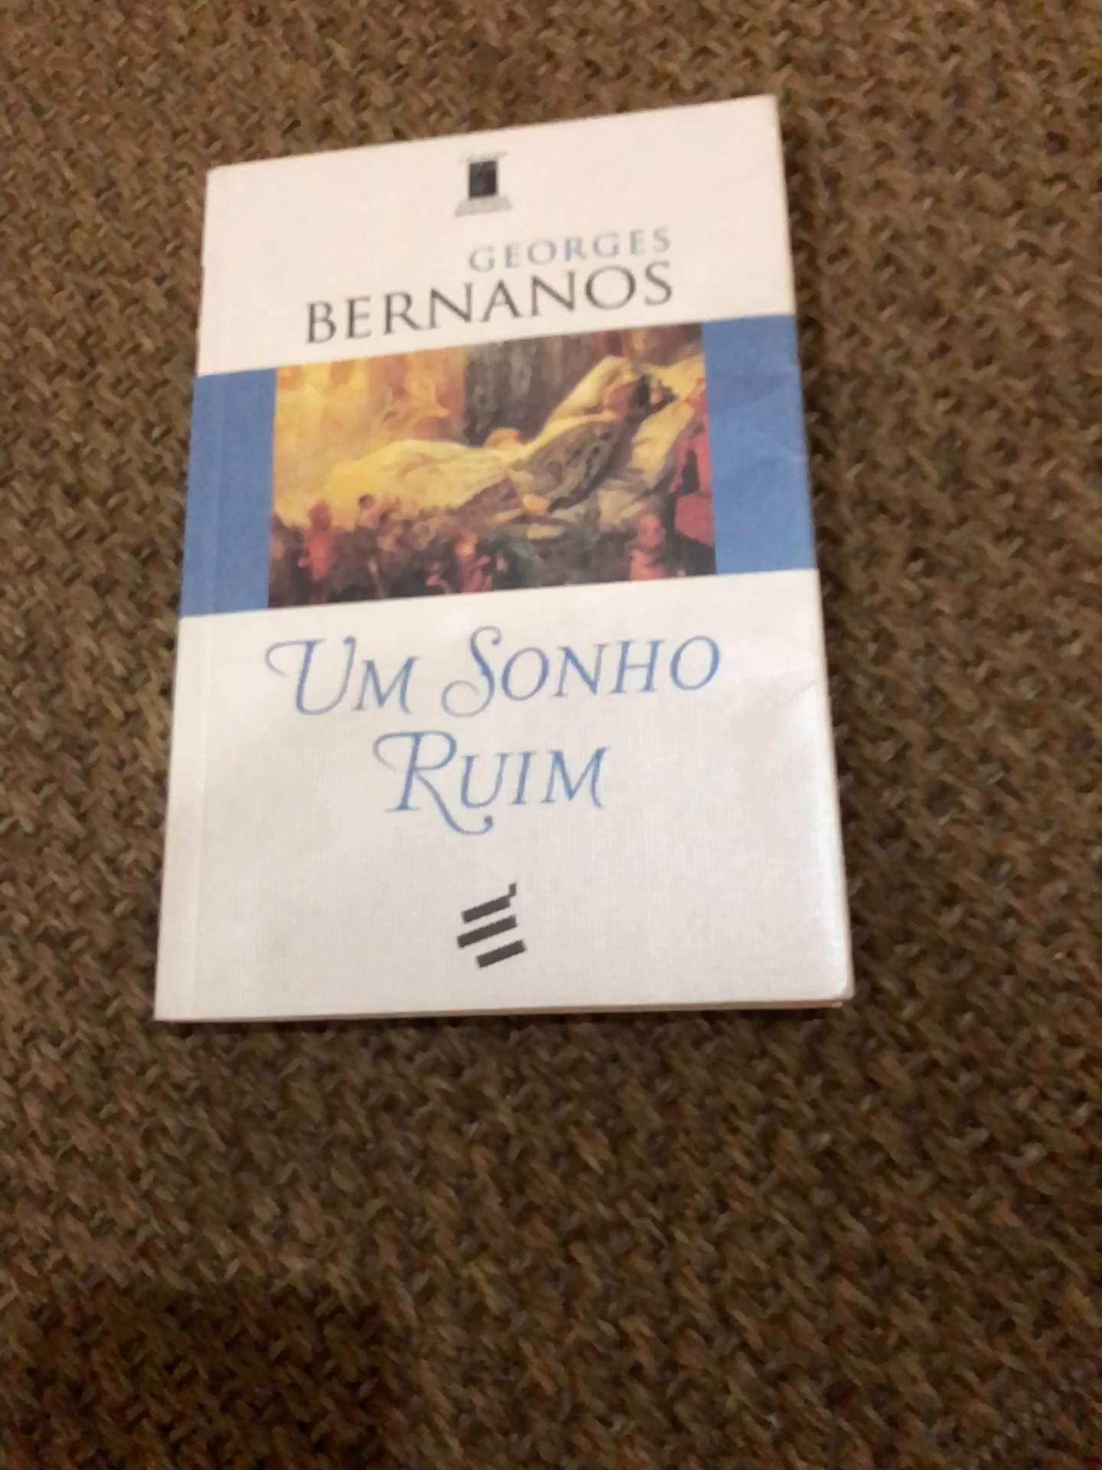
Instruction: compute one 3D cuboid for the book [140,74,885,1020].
[{"bbox_3d":[-0.011,-0.044,0.266,0.140,0.020,0.199,-4,74,8],"label":"book"}]
